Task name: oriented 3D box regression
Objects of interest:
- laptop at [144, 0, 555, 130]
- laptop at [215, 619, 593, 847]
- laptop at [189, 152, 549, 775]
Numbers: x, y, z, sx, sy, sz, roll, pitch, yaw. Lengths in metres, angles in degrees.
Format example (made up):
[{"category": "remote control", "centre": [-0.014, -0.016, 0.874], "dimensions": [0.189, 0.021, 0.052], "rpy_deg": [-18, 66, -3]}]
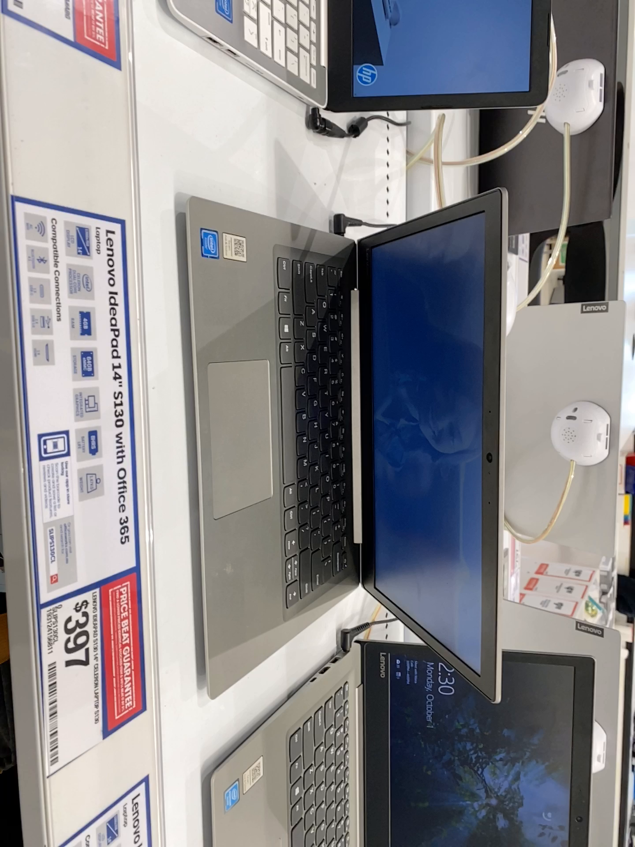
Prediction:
[{"category": "laptop", "centre": [0.050, -0.406, 0.446], "dimensions": [0.286, 0.155, 0.304], "rpy_deg": [-12, 102, -59]}, {"category": "laptop", "centre": [0.100, 0.396, 0.559], "dimensions": [0.311, 0.215, 0.329], "rpy_deg": [-12, 103, -61]}, {"category": "laptop", "centre": [0.055, 0.015, 0.480], "dimensions": [0.231, 0.170, 0.329], "rpy_deg": [-15, 106, -60]}]
